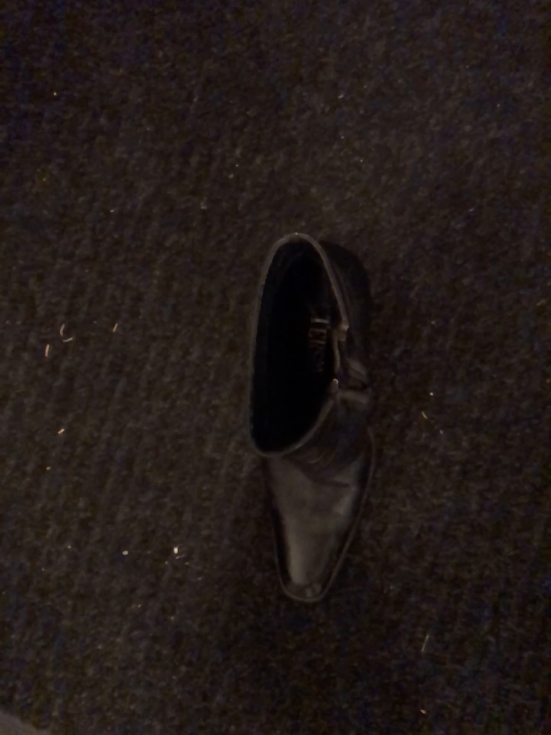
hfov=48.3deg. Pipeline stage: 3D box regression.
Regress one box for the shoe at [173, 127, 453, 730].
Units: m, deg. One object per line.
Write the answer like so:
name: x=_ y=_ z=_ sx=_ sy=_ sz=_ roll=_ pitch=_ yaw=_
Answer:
shoe: x=0.029 y=0.027 z=0.359 sx=0.090 sy=0.210 sz=0.240 roll=6 pitch=86 yaw=8
